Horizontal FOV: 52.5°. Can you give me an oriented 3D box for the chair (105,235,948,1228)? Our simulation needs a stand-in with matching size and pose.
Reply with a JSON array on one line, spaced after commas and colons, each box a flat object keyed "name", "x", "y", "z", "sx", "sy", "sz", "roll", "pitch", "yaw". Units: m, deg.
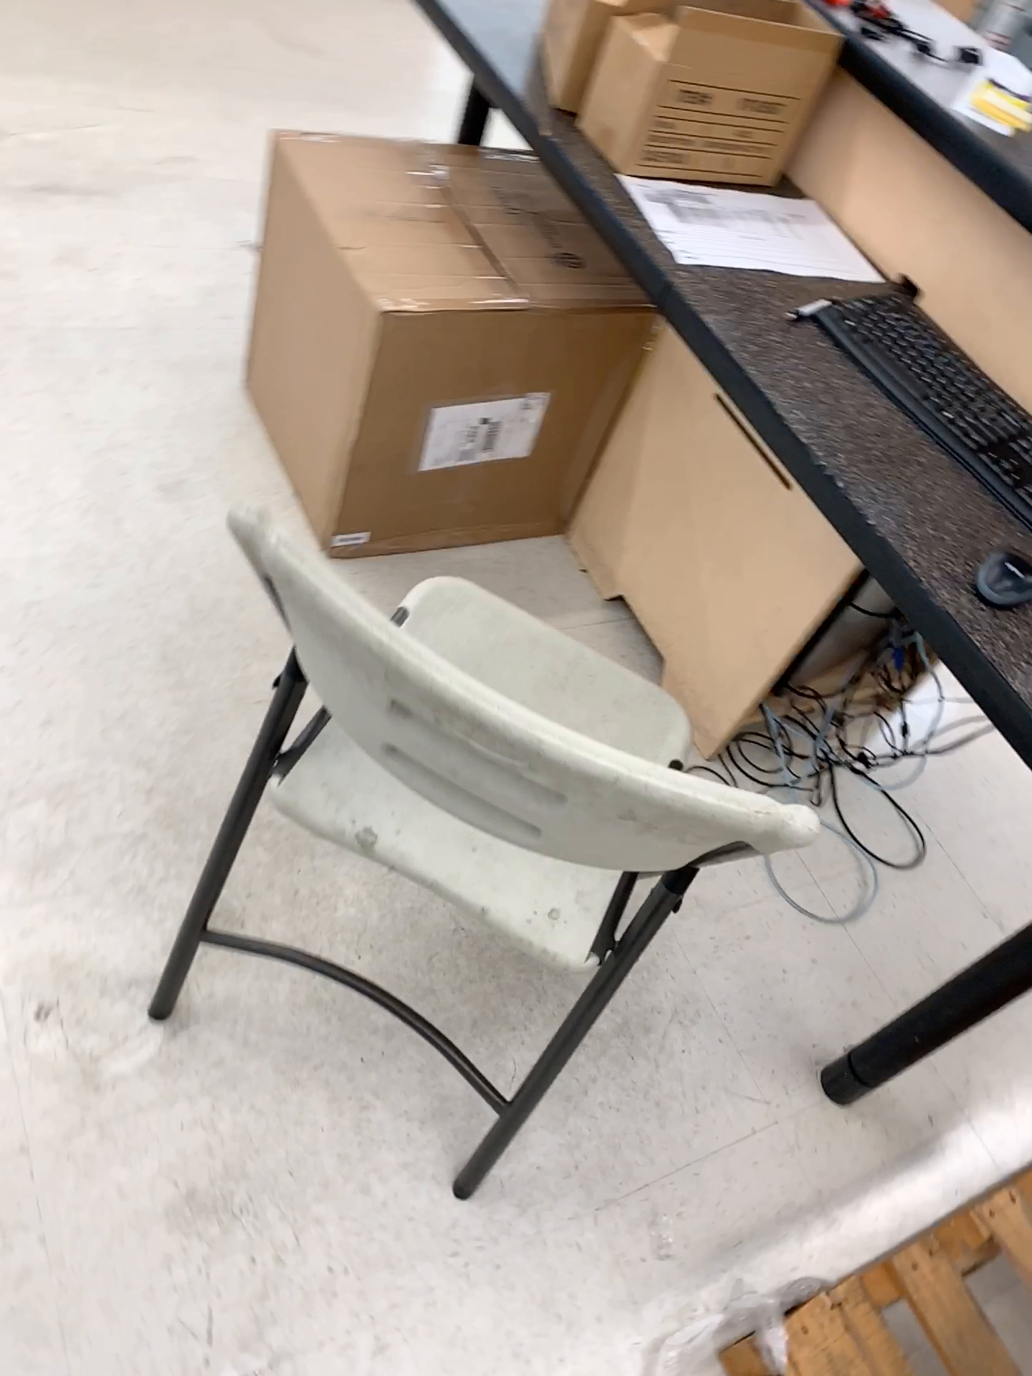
[{"name": "chair", "x": -0.028, "y": 0.080, "z": 1.117, "sx": 0.530, "sy": 0.747, "sz": 0.562, "roll": 29, "pitch": 47, "yaw": 3}]
